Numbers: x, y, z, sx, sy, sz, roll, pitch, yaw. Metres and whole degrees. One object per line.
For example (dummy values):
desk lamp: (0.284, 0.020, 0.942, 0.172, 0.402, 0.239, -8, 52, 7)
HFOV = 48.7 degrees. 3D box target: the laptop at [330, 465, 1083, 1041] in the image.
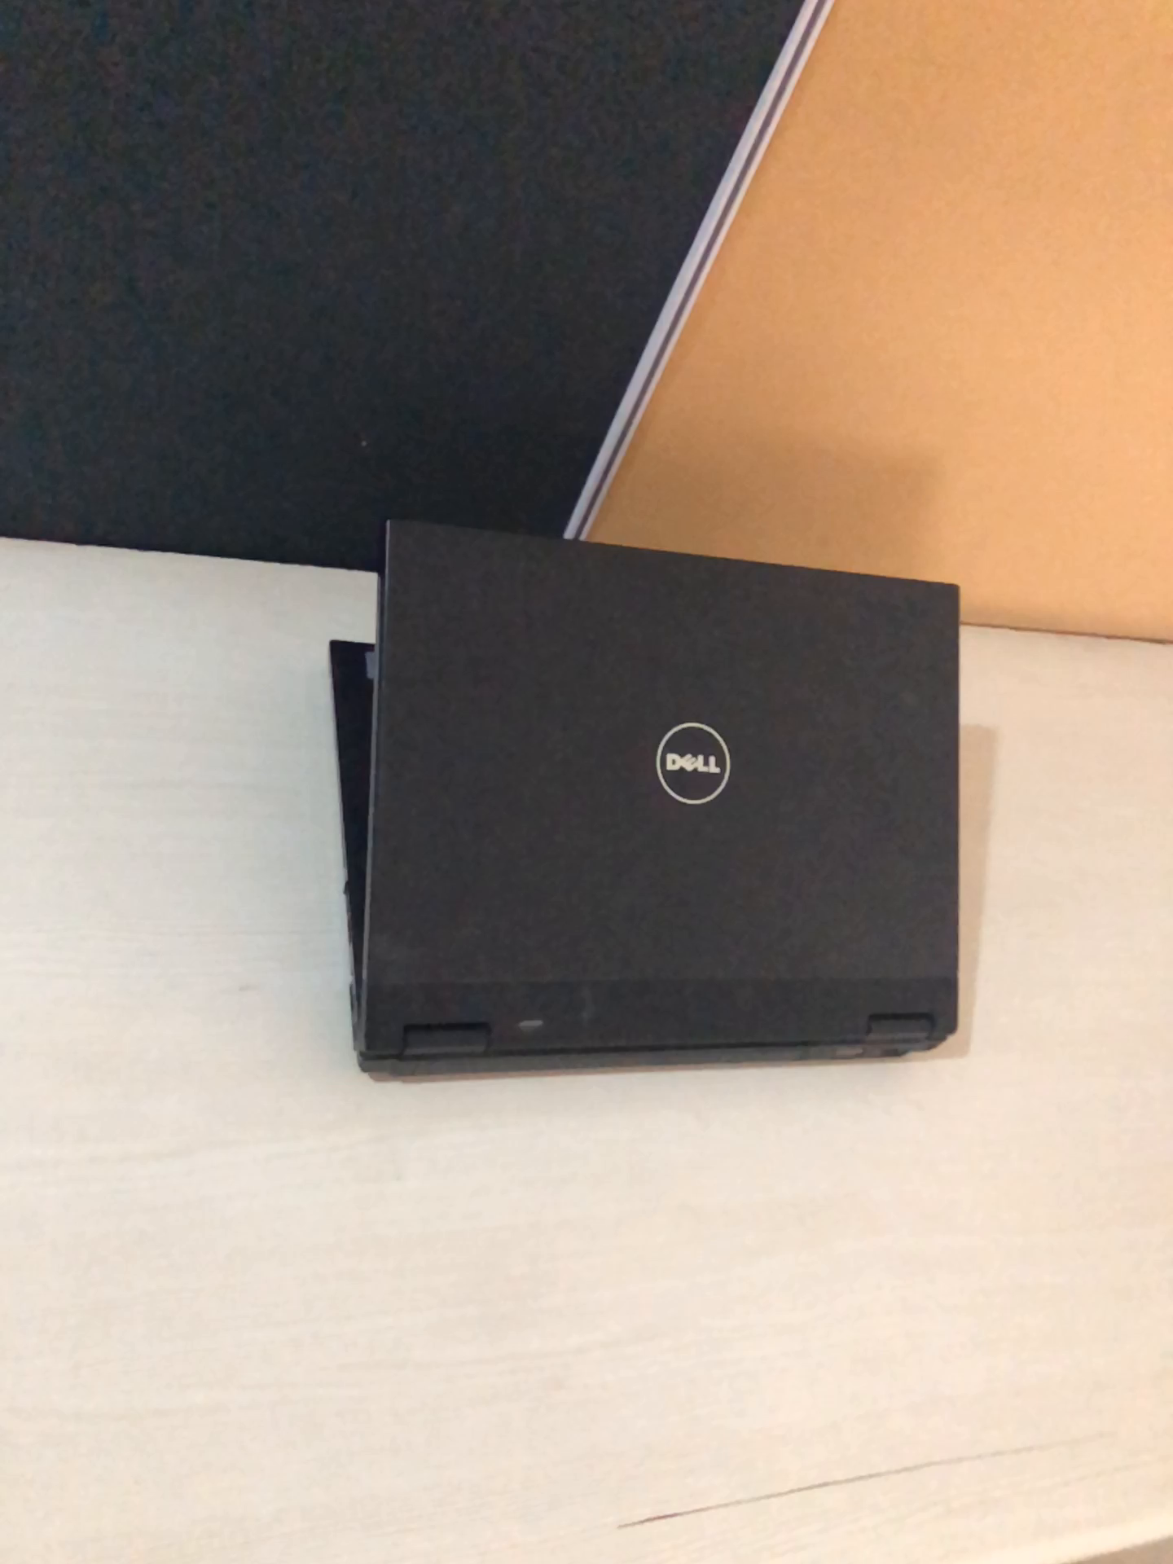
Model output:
laptop: (0.044, -0.010, 0.637, 0.302, 0.126, 0.225, 3, 55, -22)
